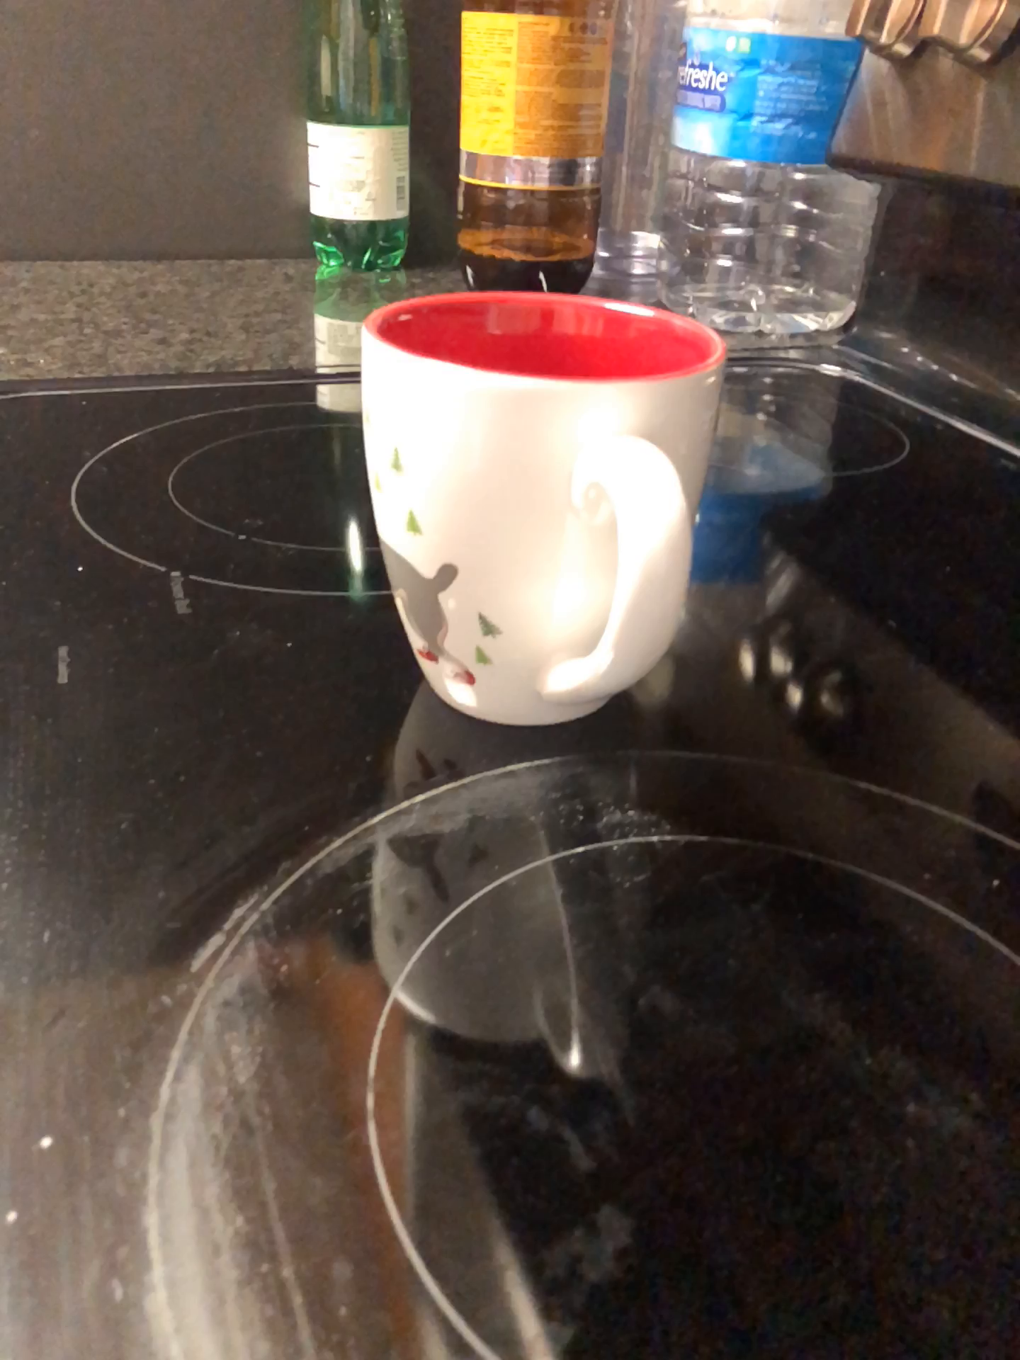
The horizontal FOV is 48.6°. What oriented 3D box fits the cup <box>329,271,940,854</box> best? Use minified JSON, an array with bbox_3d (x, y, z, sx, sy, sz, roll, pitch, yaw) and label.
[{"bbox_3d":[0.018,-0.044,0.305,0.100,0.099,0.141,-8,31,-19],"label":"cup"}]
